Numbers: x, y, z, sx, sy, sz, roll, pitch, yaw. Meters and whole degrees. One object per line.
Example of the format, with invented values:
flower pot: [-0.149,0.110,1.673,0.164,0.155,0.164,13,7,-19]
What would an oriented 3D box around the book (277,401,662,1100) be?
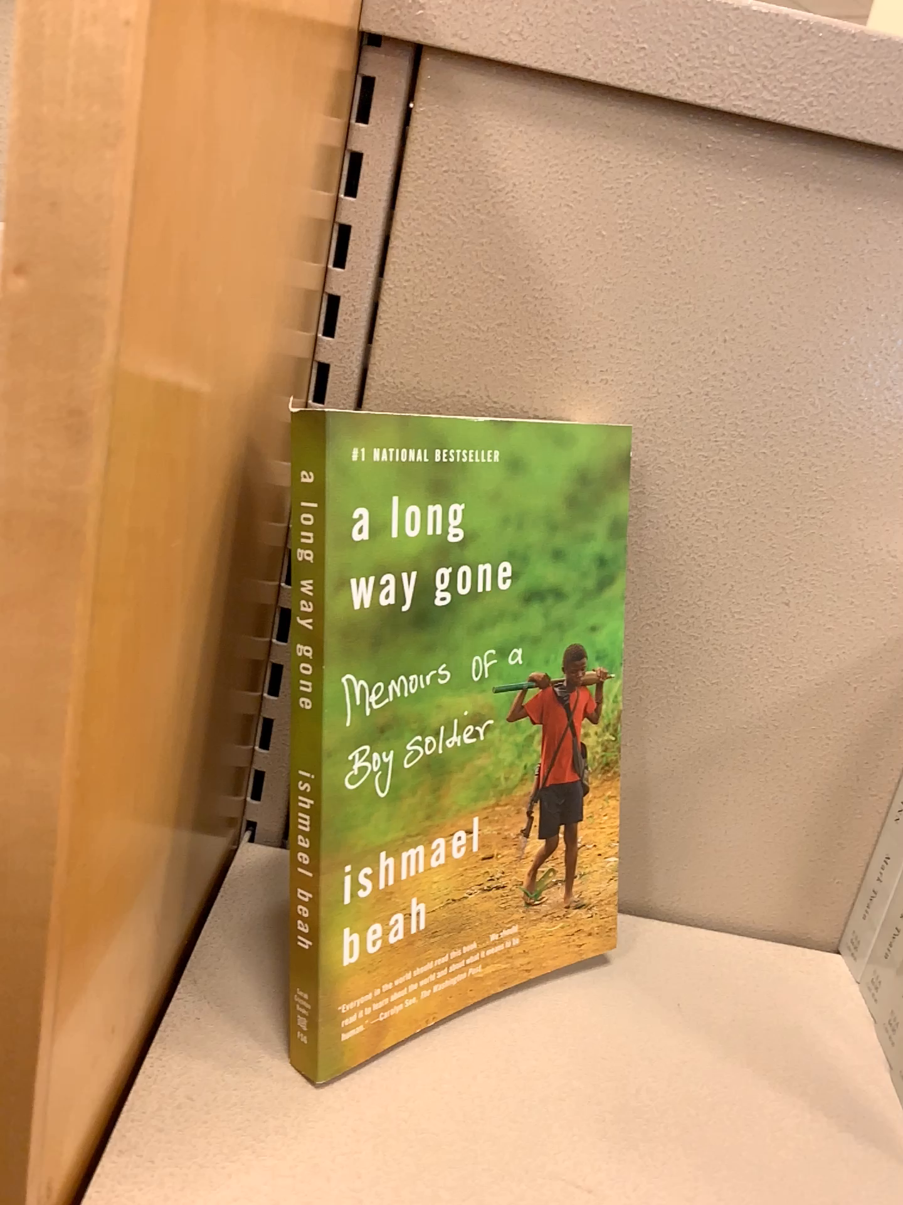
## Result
book: [0.010,0.042,0.319,0.140,0.210,0.020,-5,13,-38]
